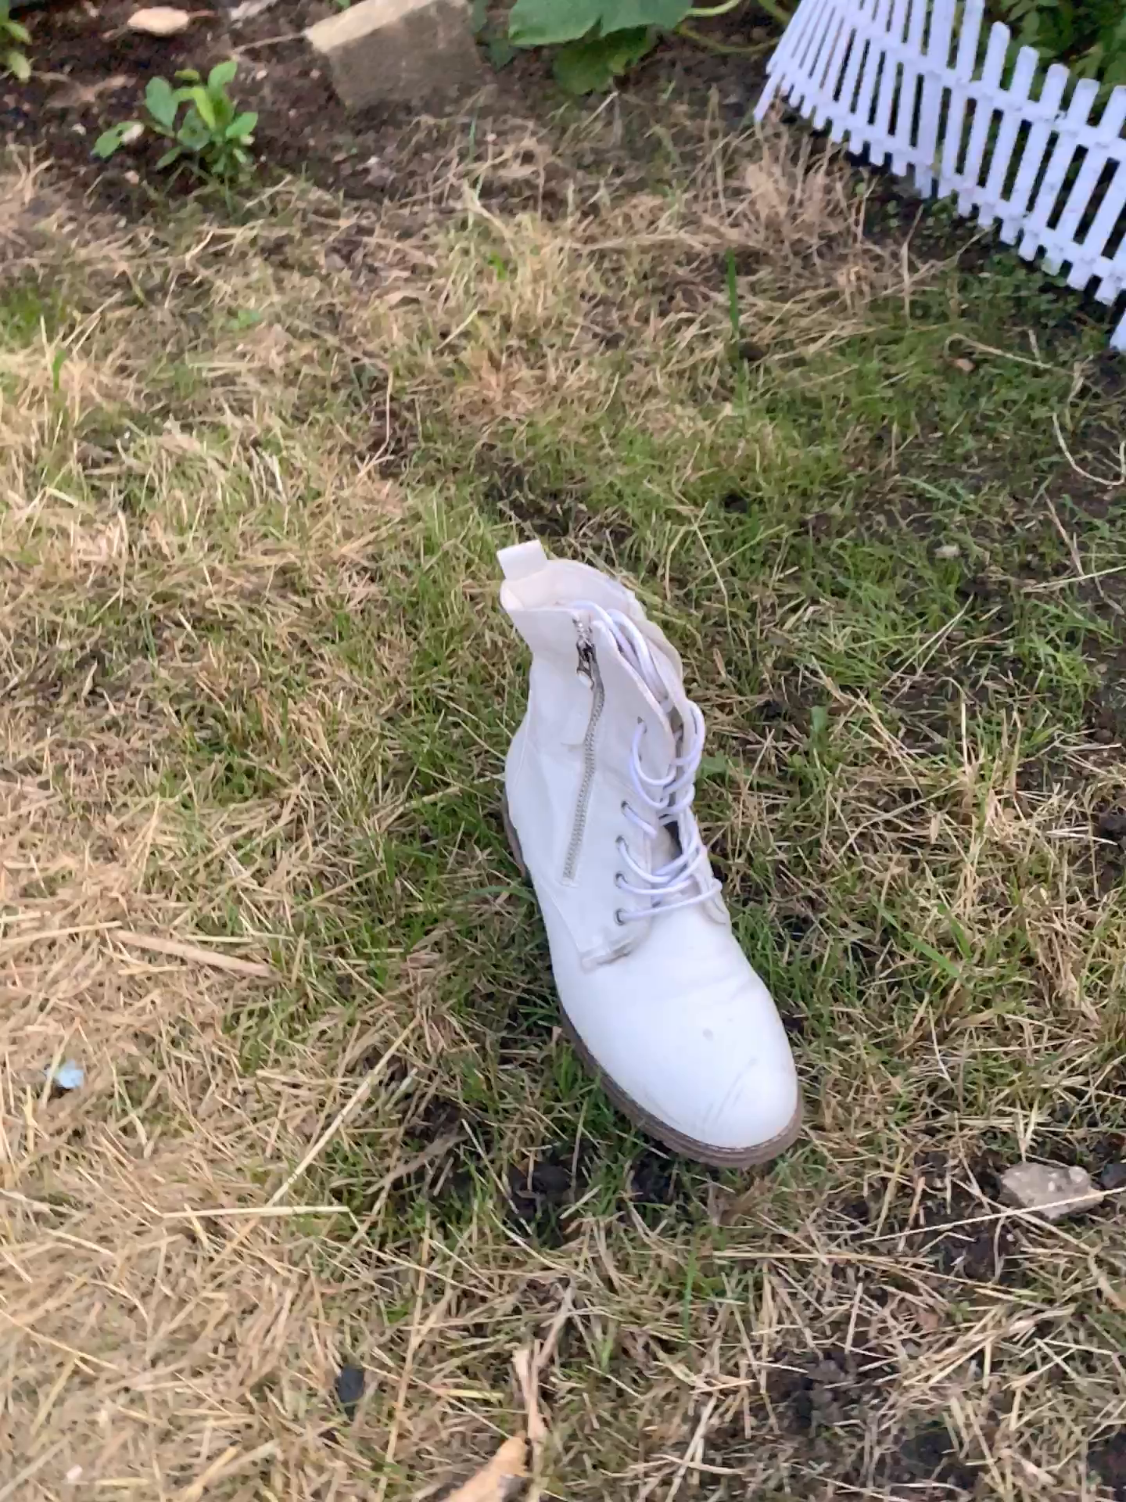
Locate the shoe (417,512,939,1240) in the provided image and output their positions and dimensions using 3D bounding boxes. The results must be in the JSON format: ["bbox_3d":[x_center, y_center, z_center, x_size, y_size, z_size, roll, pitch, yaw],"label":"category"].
[{"bbox_3d":[0.035,0.050,0.529,0.100,0.178,0.262,-20,51,-13],"label":"shoe"}]
